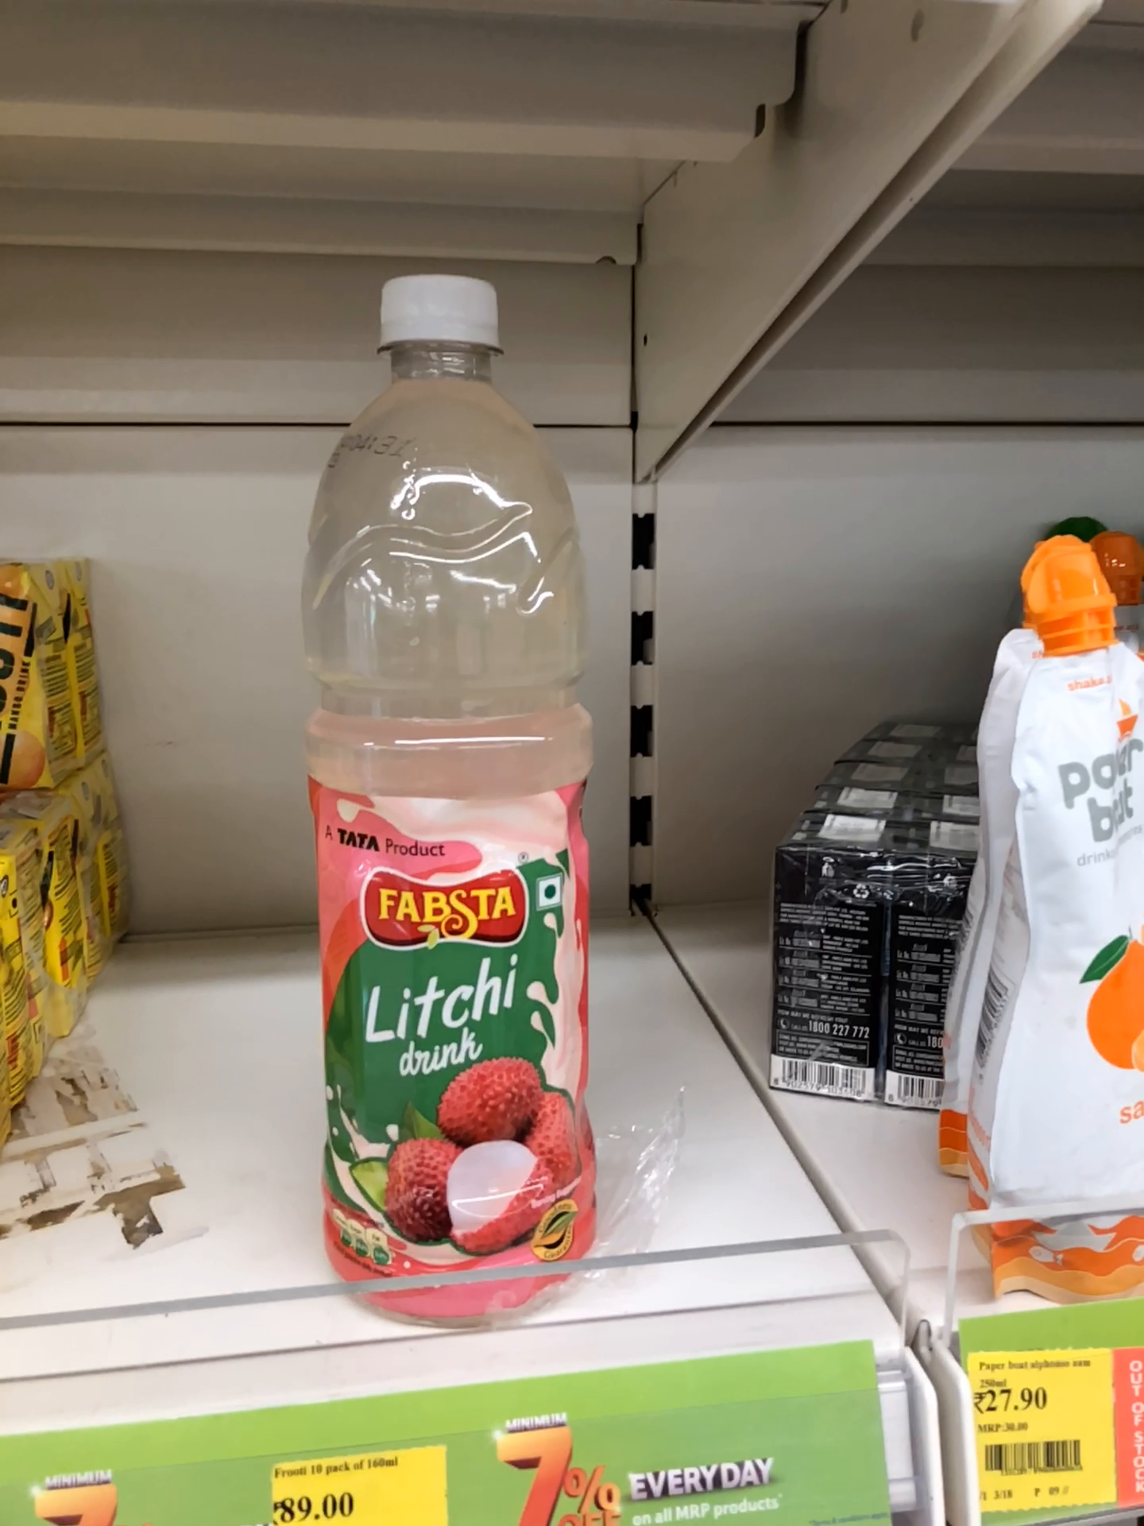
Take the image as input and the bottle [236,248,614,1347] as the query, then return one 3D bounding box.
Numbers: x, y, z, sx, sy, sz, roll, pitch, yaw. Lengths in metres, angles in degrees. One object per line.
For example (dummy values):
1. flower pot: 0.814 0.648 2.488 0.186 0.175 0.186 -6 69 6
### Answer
1. bottle: -0.030 0.013 0.336 0.080 0.269 0.070 0 13 3
